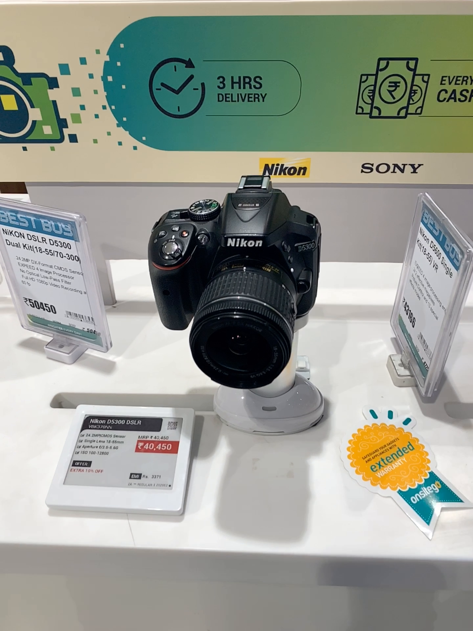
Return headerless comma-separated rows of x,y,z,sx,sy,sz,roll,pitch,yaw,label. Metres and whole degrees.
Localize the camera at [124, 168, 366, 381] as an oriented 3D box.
0.007,-0.032,0.311,0.118,0.082,0.123,1,36,3,camera
